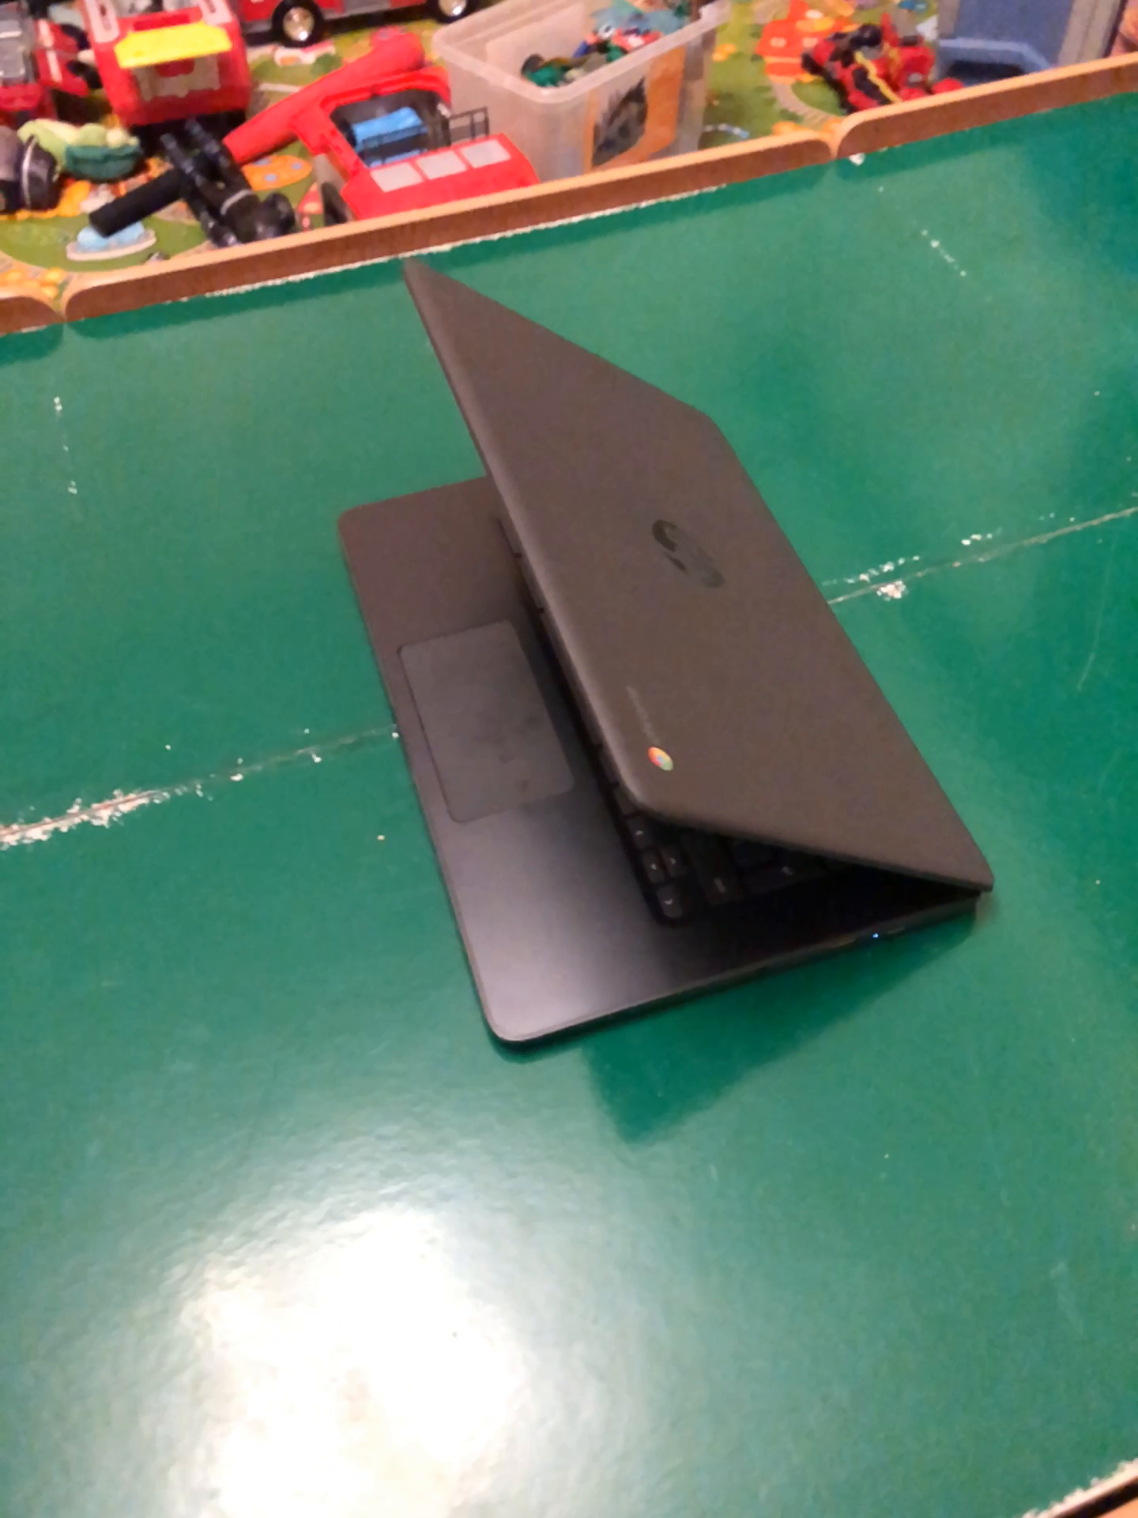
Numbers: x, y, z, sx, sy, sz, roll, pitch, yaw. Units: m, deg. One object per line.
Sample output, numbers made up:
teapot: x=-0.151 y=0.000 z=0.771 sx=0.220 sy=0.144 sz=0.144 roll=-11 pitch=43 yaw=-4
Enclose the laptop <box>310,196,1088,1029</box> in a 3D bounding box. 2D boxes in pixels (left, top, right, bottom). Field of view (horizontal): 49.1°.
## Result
laptop: x=0.030 y=-0.082 z=0.555 sx=0.208 sy=0.144 sz=0.318 roll=-15 pitch=55 yaw=-9
